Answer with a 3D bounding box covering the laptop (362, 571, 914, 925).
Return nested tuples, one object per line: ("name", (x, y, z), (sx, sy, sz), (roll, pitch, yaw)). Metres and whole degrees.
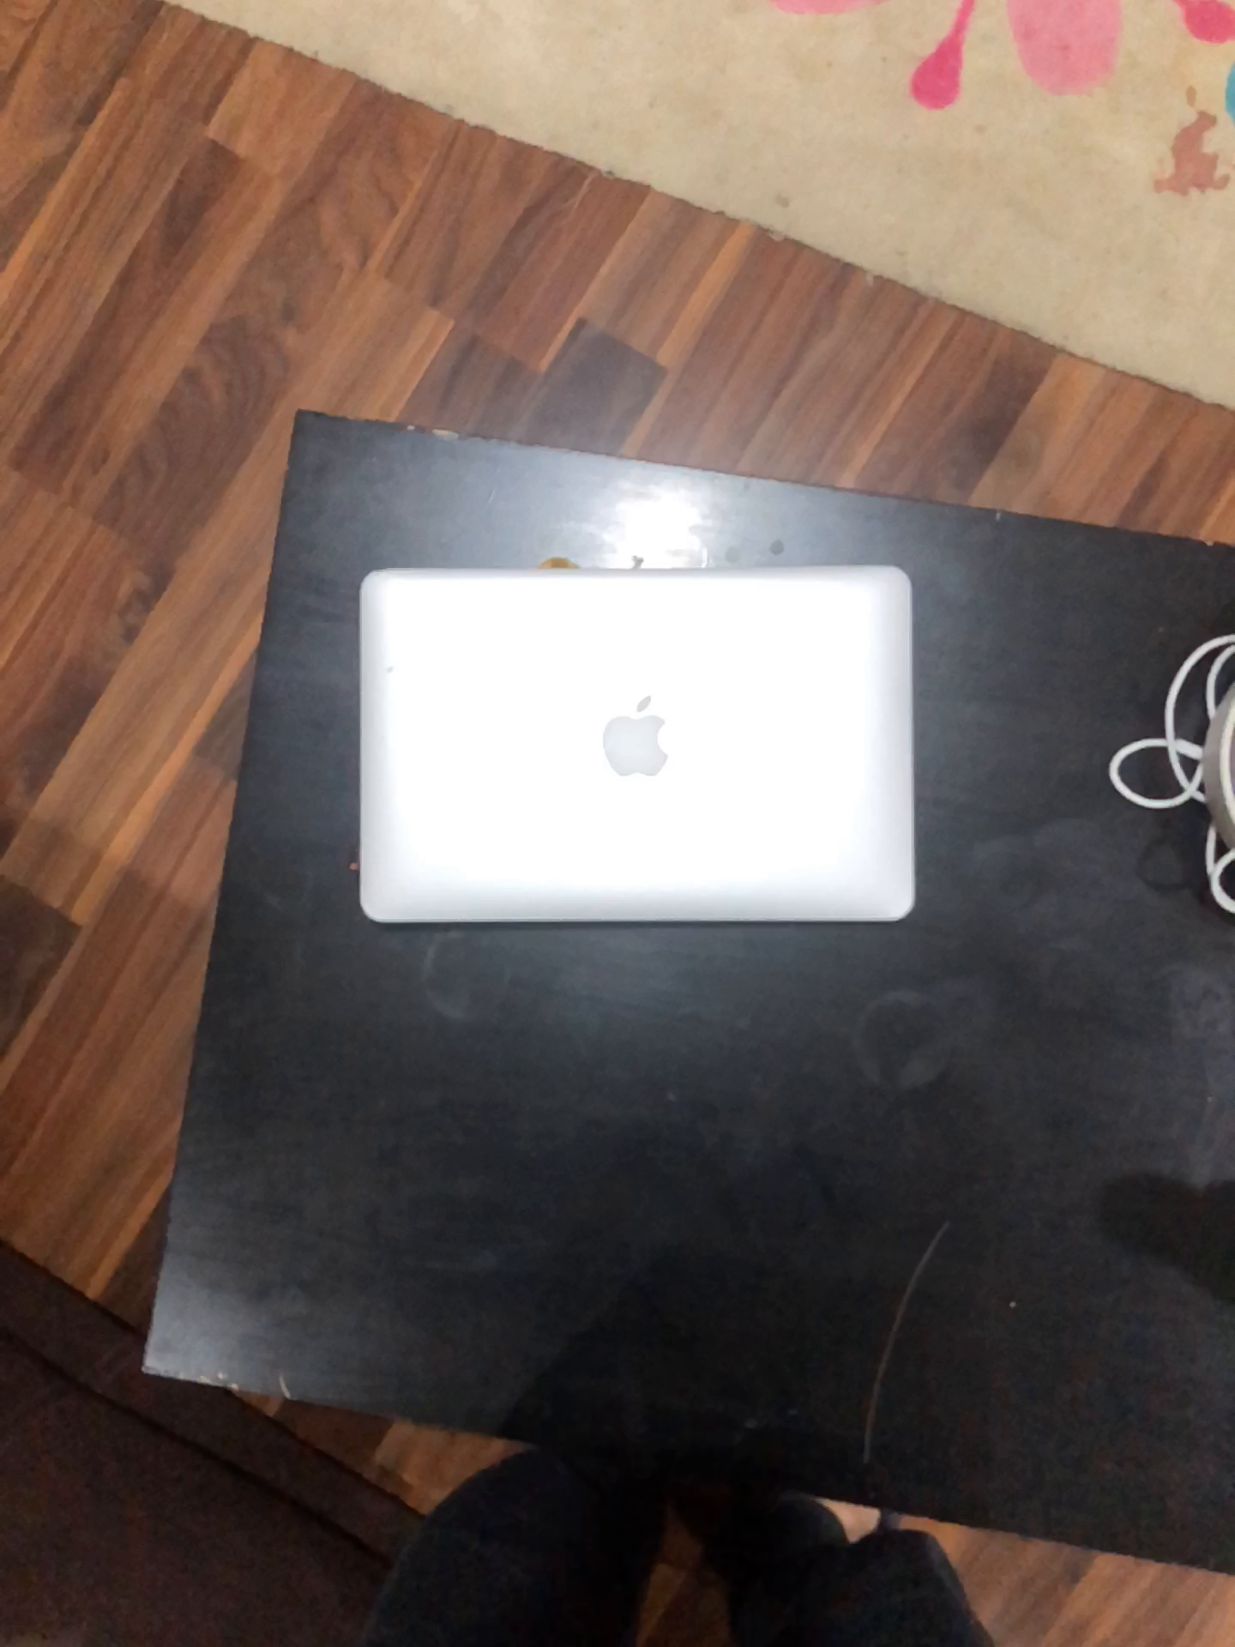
("laptop", (0.011, -0.041, 0.752), (0.300, 0.011, 0.190), (0, 93, 0))
